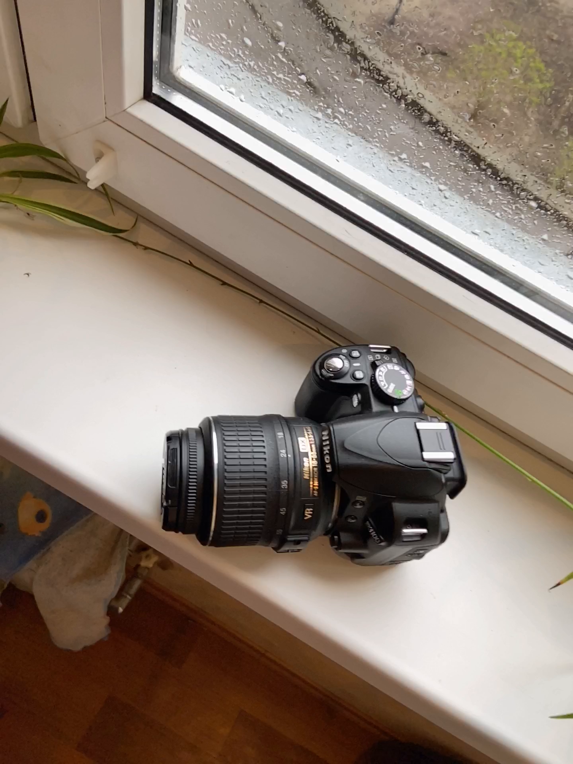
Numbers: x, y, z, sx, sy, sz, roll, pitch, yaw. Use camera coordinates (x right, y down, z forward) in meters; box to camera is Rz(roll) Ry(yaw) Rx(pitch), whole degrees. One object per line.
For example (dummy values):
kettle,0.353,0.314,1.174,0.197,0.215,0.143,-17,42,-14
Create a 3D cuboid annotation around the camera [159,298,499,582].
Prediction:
camera,0.010,0.033,0.330,0.155,0.091,0.125,0,63,-15
